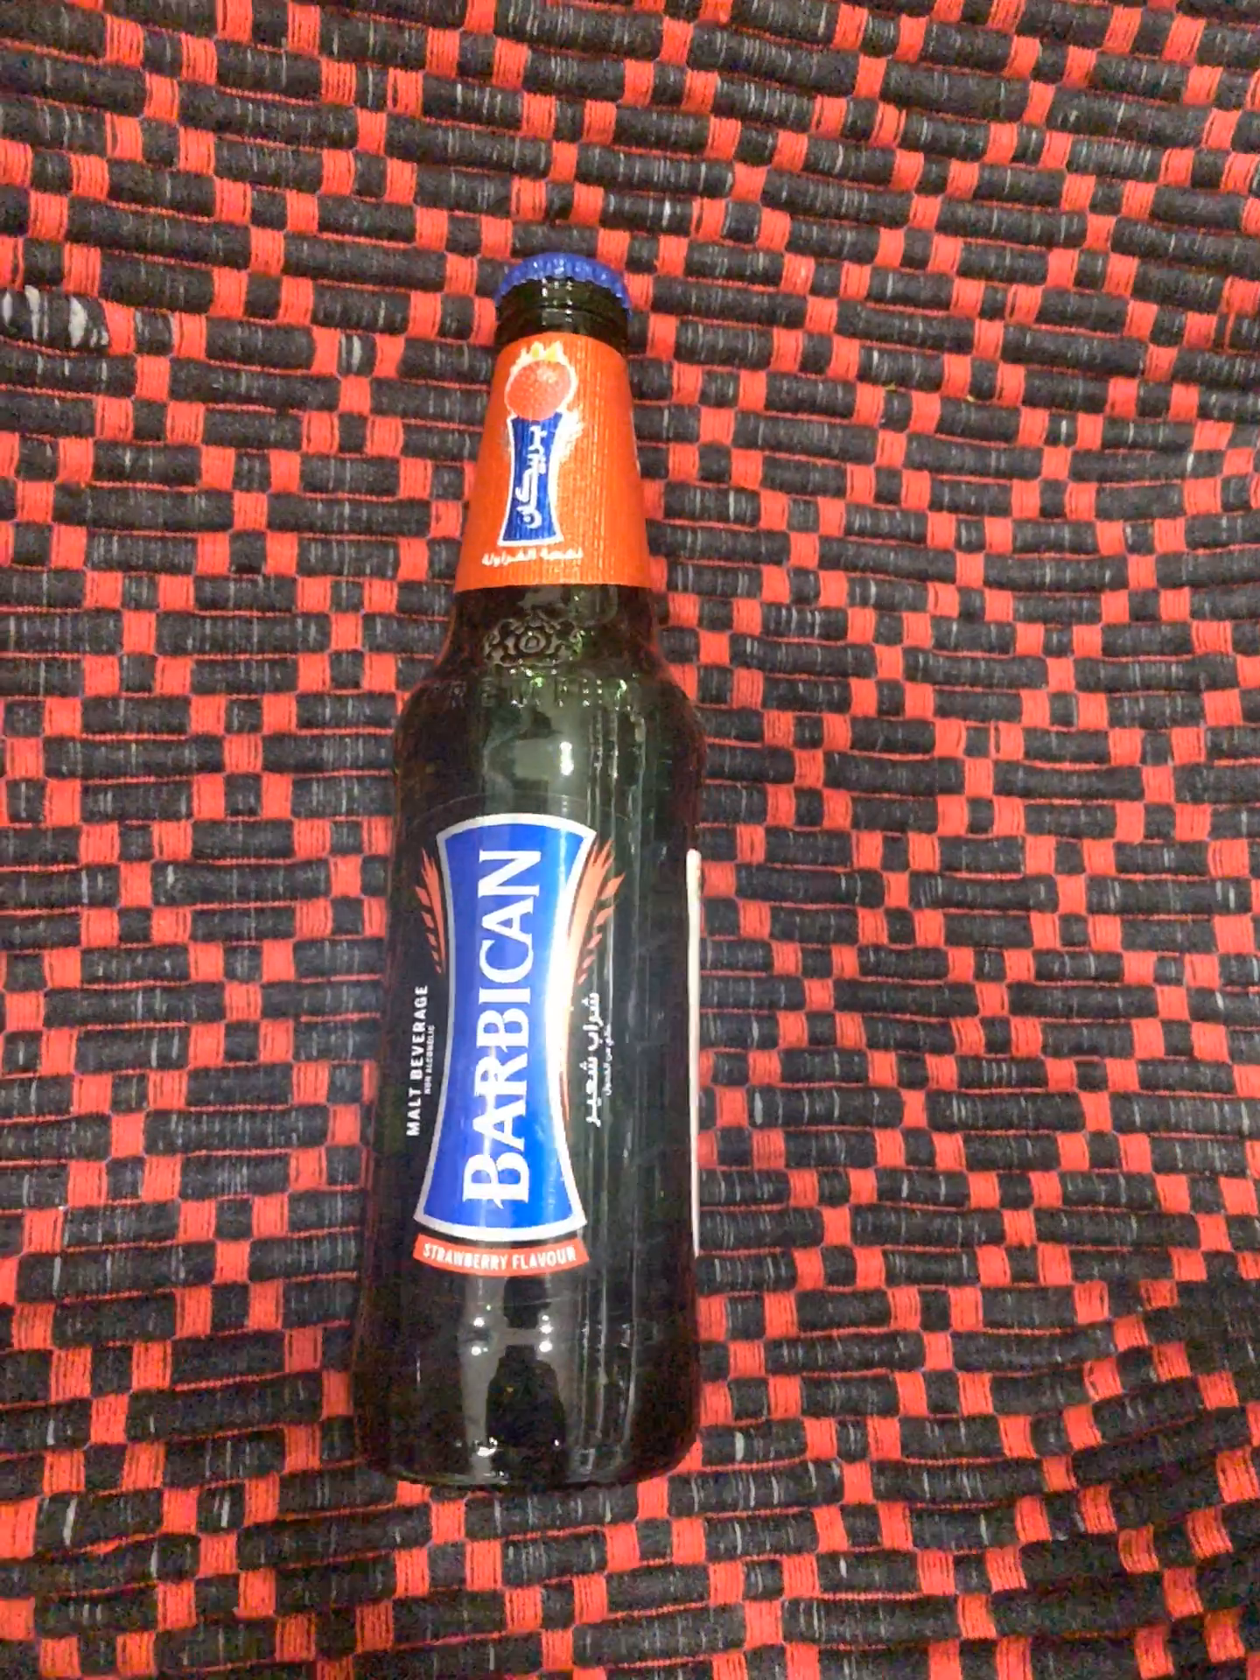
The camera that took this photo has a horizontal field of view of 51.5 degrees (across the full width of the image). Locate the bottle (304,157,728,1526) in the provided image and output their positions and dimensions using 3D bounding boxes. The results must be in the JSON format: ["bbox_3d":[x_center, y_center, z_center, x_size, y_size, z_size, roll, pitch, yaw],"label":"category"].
[{"bbox_3d":[-0.015,-0.004,0.241,0.060,0.070,0.220,-2,78,4],"label":"bottle"}]
